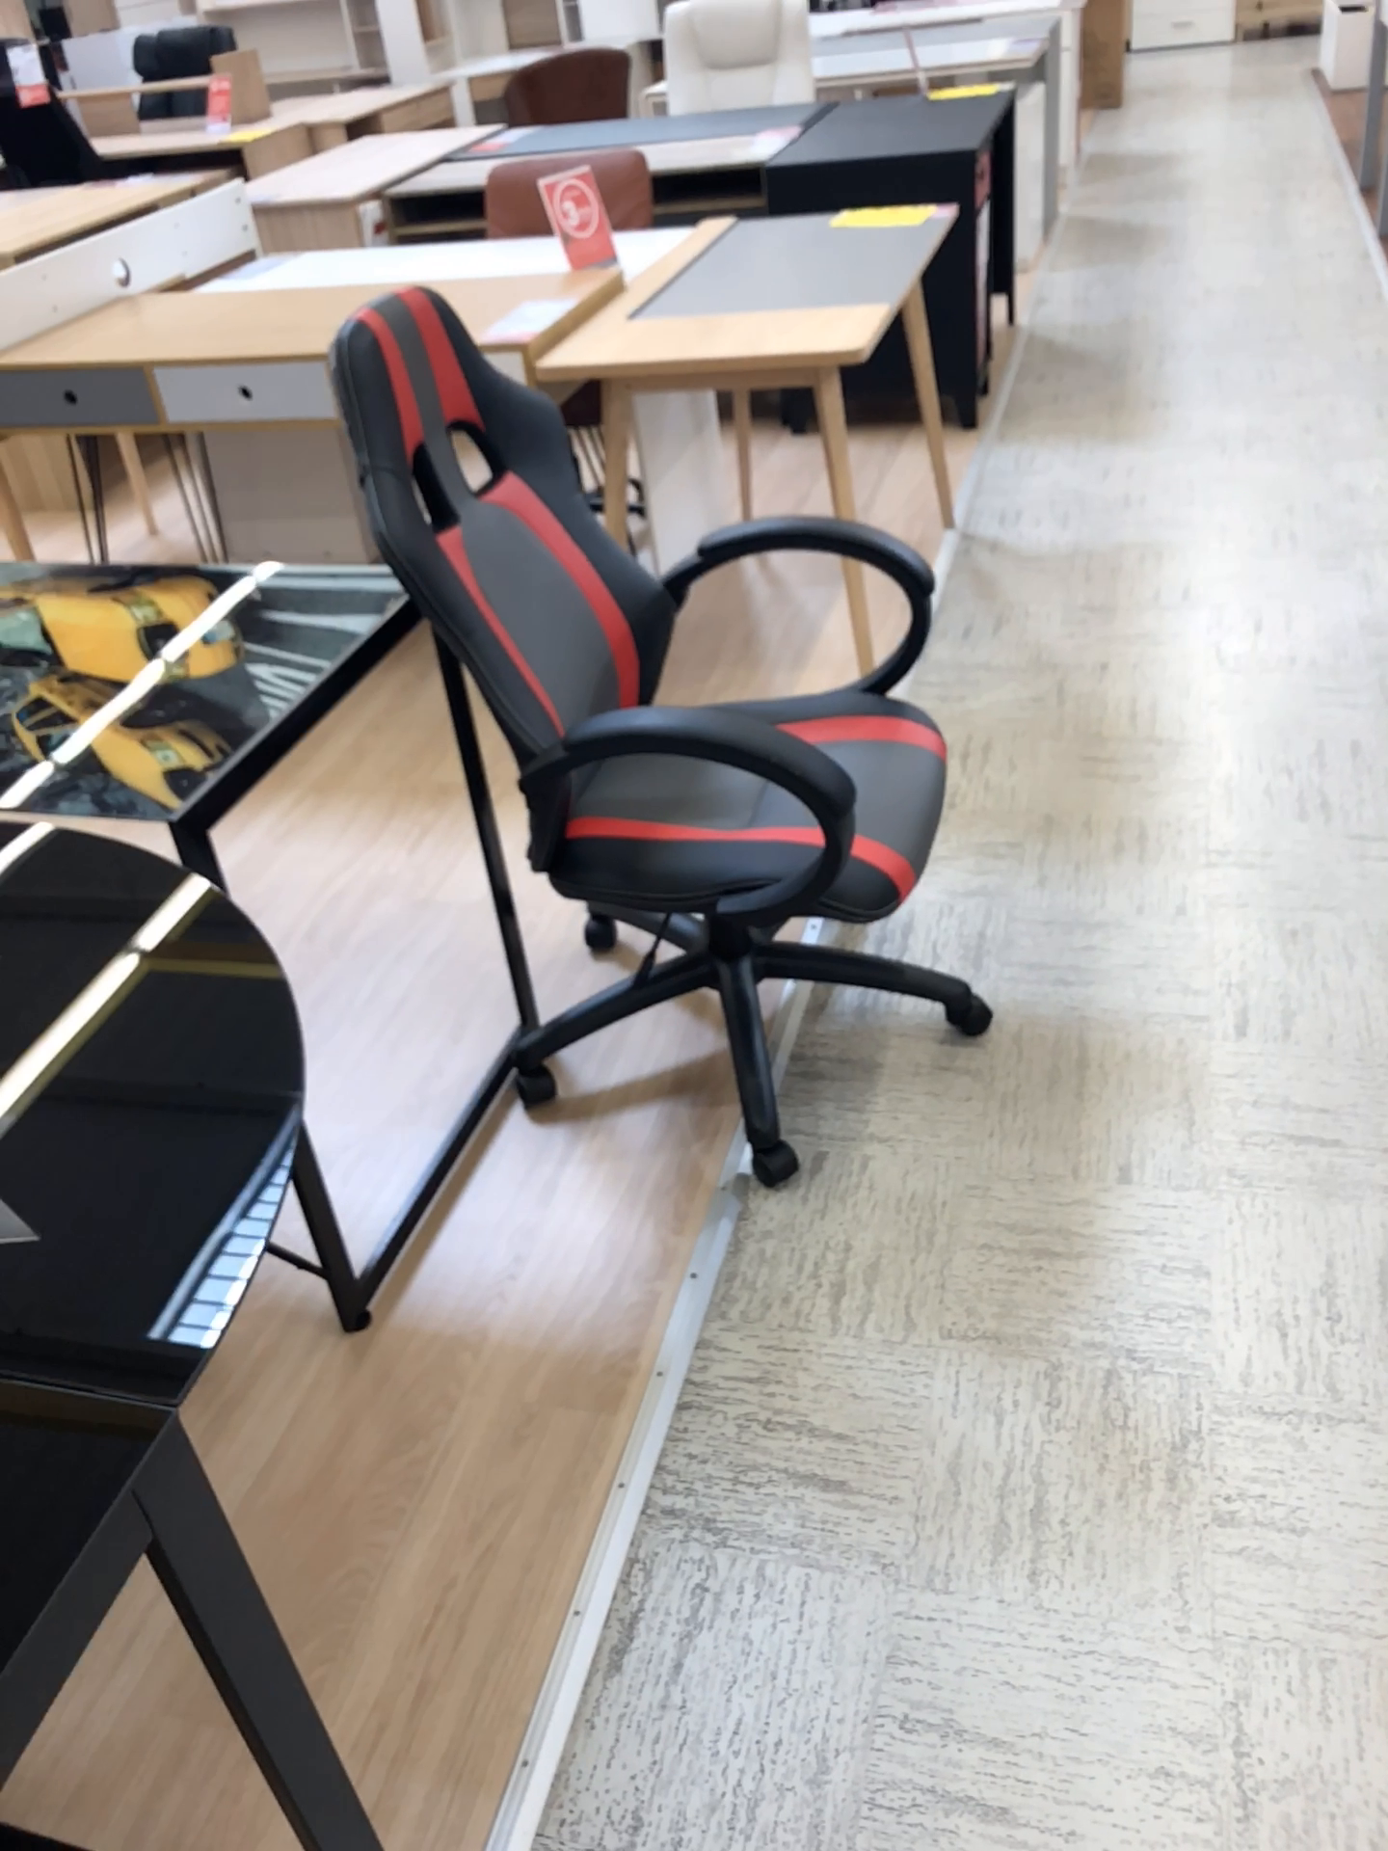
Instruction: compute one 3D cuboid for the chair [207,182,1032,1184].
[{"bbox_3d":[0.022,-0.306,1.851,0.689,0.925,0.695,3,35,17],"label":"chair"}]
